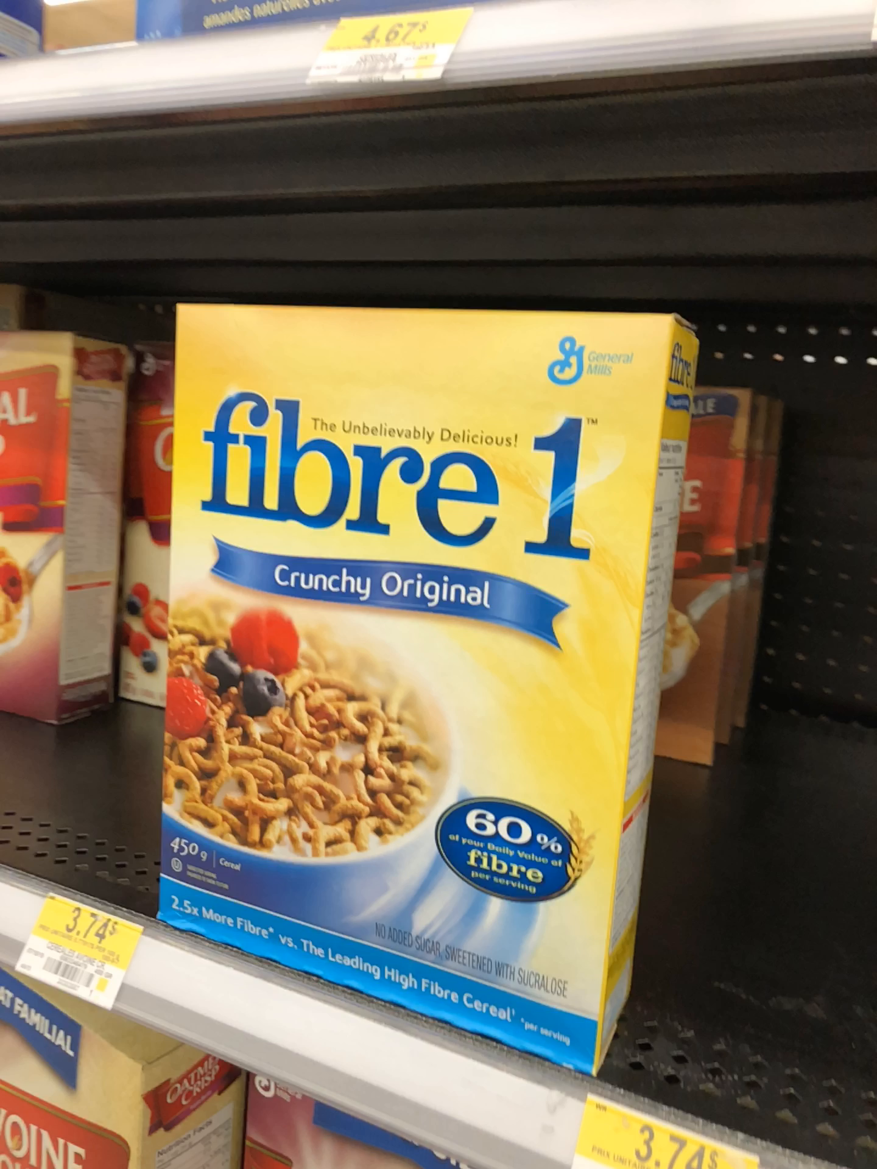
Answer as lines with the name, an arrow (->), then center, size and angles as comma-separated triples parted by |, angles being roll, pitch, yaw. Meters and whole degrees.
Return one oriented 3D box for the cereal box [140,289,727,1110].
cereal box -> -0.013, 0.027, 0.369 | 0.200, 0.259, 0.060 | 9, 10, 26
